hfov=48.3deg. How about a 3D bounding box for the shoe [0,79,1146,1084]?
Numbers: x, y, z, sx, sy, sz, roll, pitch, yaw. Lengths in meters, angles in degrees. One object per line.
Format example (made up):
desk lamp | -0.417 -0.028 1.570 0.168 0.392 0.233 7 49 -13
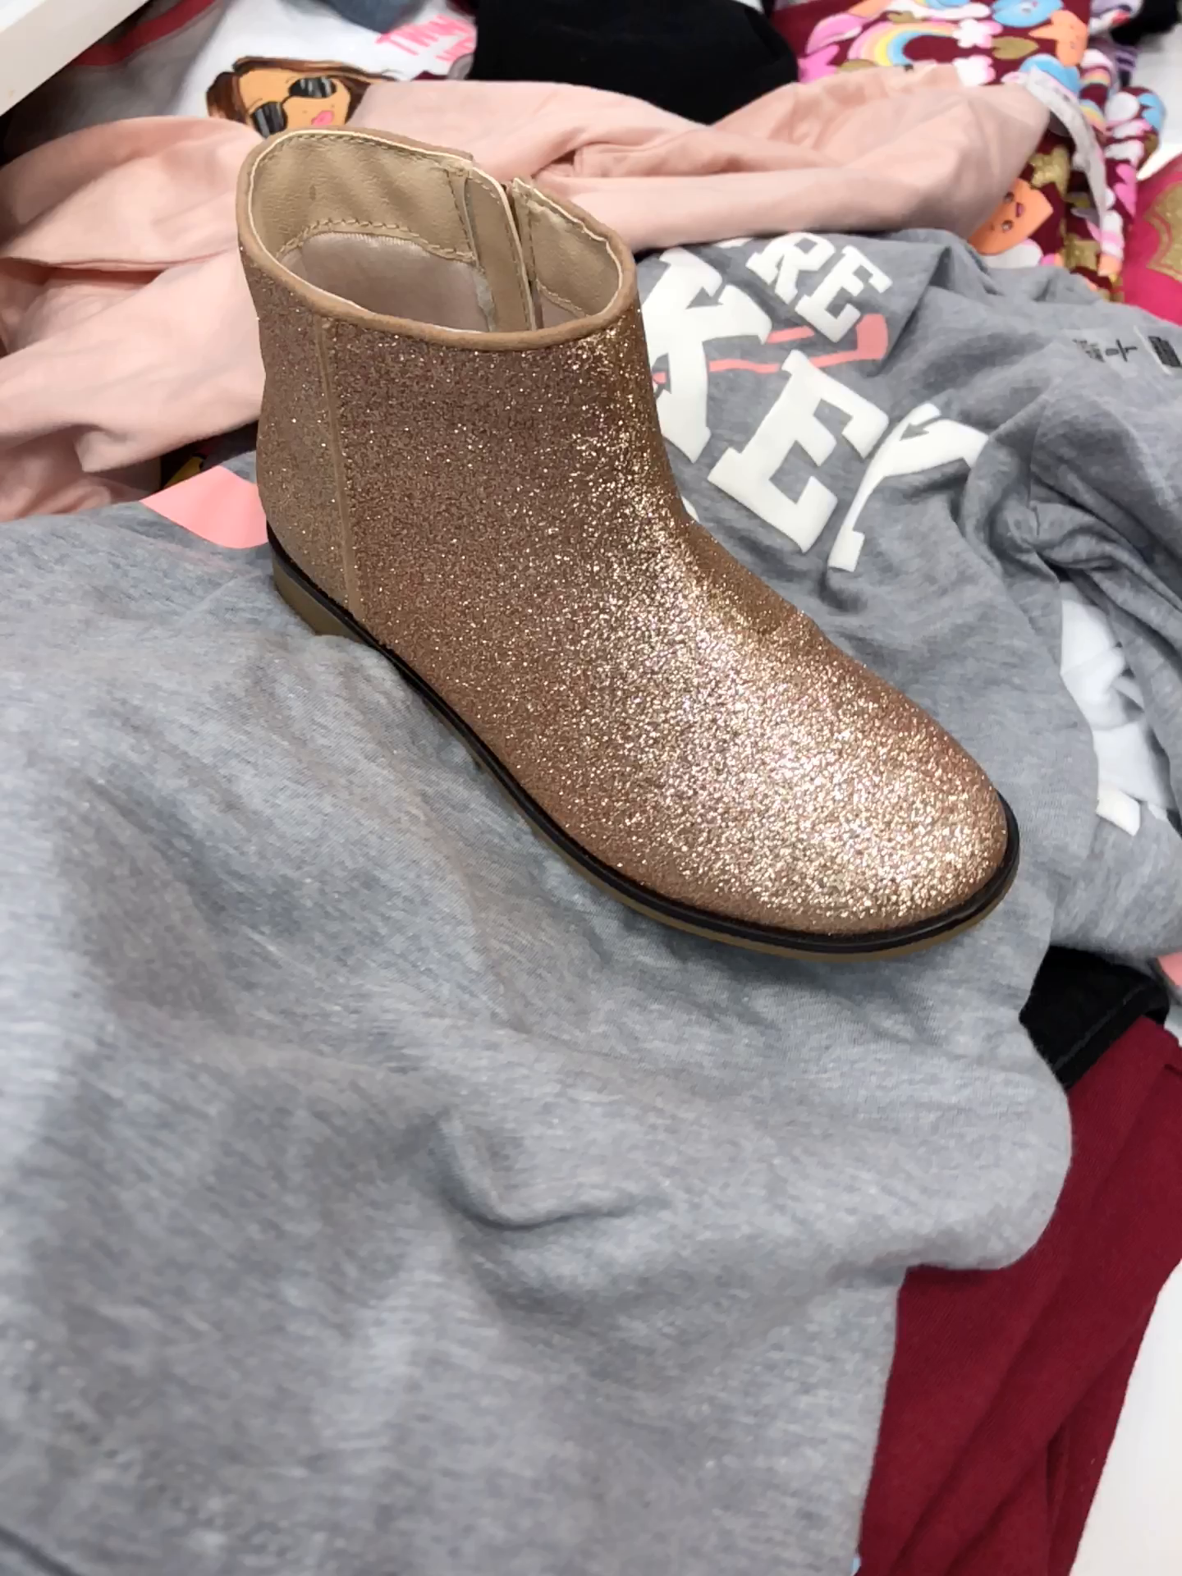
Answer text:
shoe | -0.020 -0.059 0.294 0.238 0.129 0.083 29 60 33
